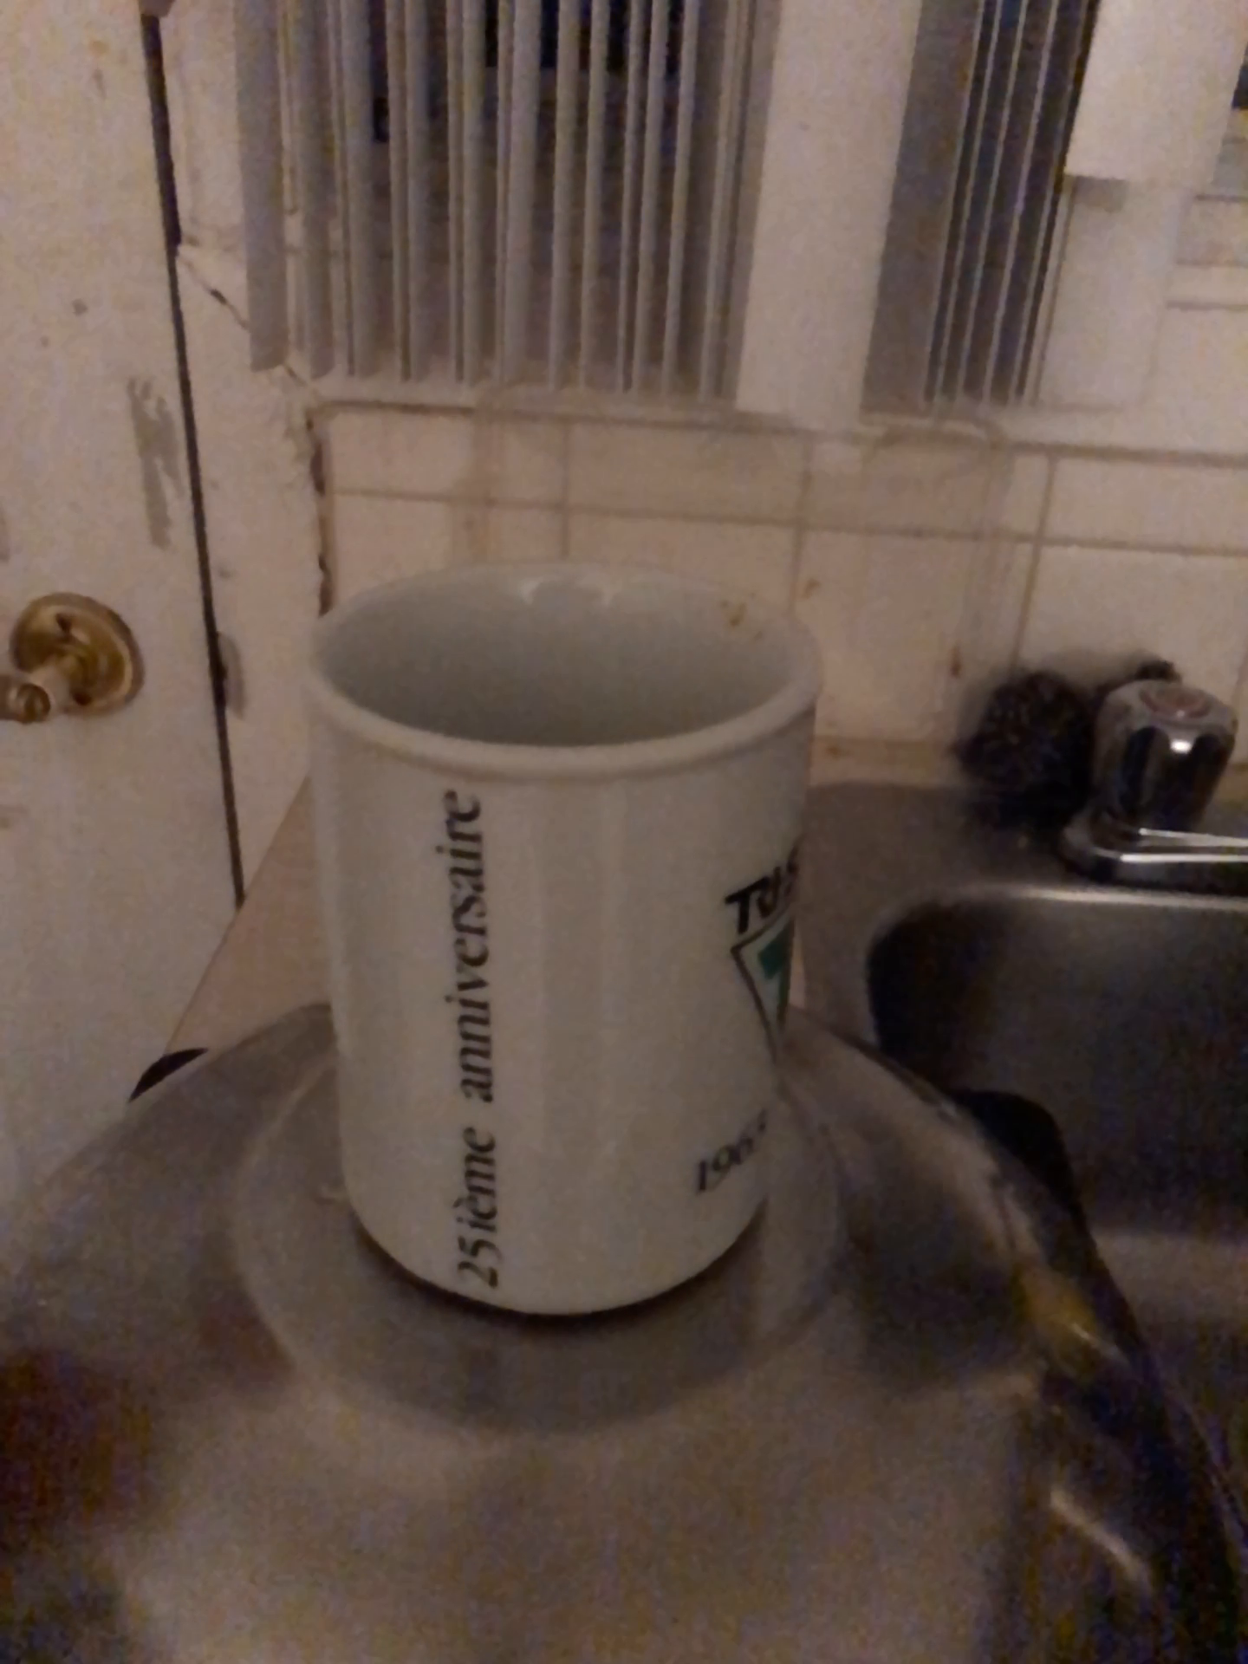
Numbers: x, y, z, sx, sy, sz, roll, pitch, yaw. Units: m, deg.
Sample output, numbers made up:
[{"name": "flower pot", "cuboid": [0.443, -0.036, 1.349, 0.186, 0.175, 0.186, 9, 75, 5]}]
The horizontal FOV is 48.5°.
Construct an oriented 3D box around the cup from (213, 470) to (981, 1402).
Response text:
[{"name": "cup", "cuboid": [0.002, 0.006, 0.238, 0.070, 0.099, 0.117, 18, 33, 23]}]
